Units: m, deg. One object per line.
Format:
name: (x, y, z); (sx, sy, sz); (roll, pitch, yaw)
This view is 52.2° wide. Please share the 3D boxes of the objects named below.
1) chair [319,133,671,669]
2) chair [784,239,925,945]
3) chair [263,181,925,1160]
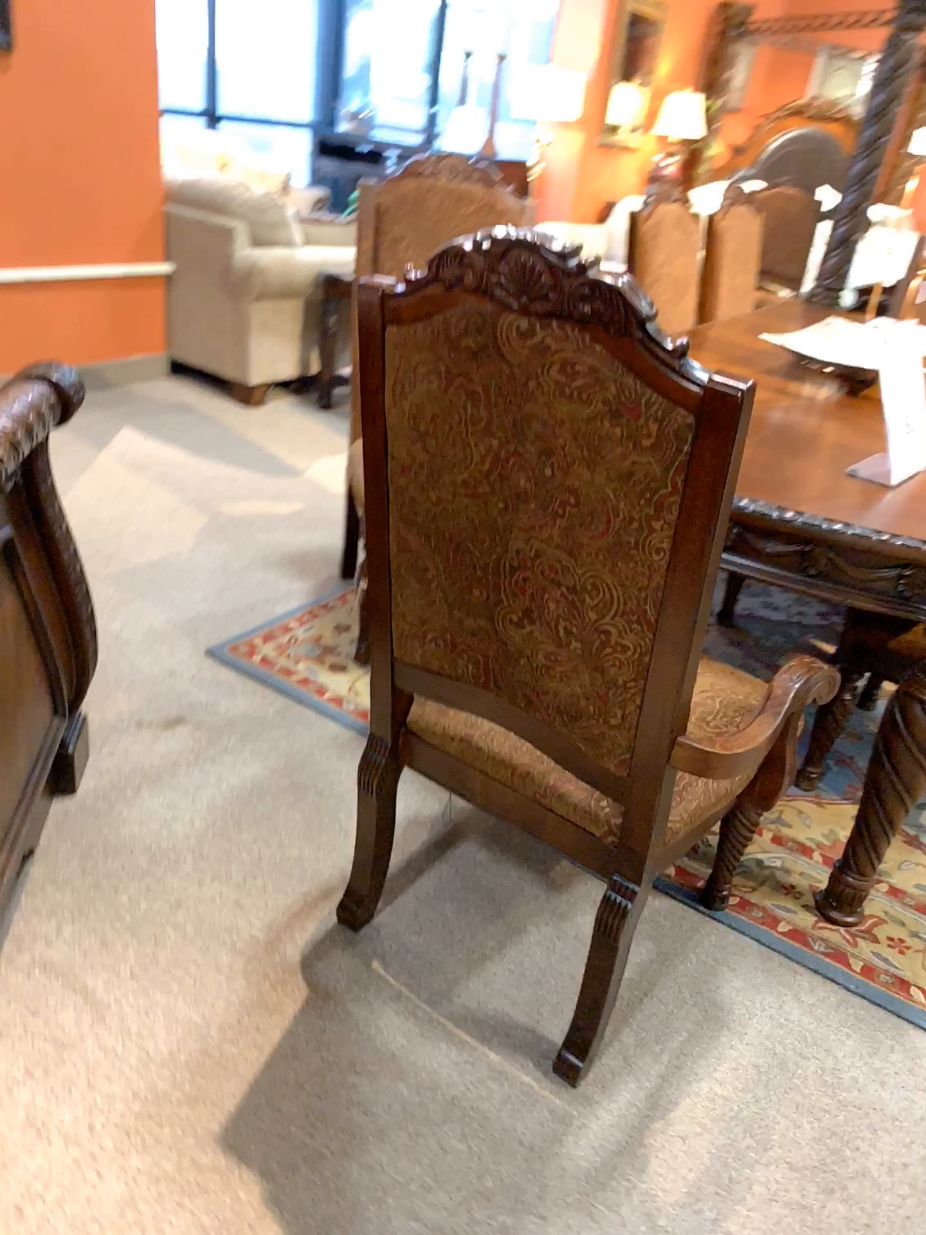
chair: (-0.005, -0.549, 2.477); (0.604, 1.183, 0.672); (1, 28, -15)
chair: (1.190, -0.088, 1.869); (0.620, 1.133, 0.565); (25, 31, 28)
chair: (0.178, 0.022, 1.404); (0.584, 1.123, 0.672); (24, 31, 28)
